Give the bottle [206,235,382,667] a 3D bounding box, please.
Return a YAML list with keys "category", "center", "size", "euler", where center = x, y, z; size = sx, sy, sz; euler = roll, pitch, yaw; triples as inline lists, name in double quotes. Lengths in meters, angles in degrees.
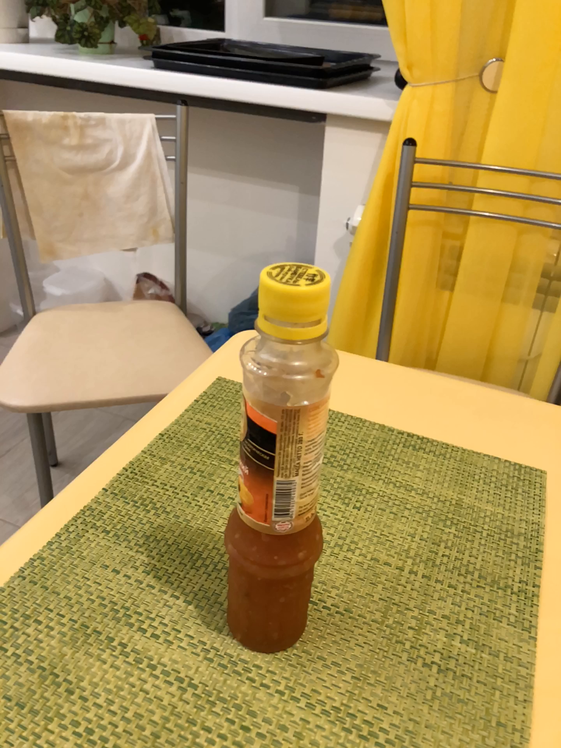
- category: "bottle"
  center: [0.002, 0.046, 0.304]
  size: [0.060, 0.208, 0.060]
  euler: [3, 31, -2]
